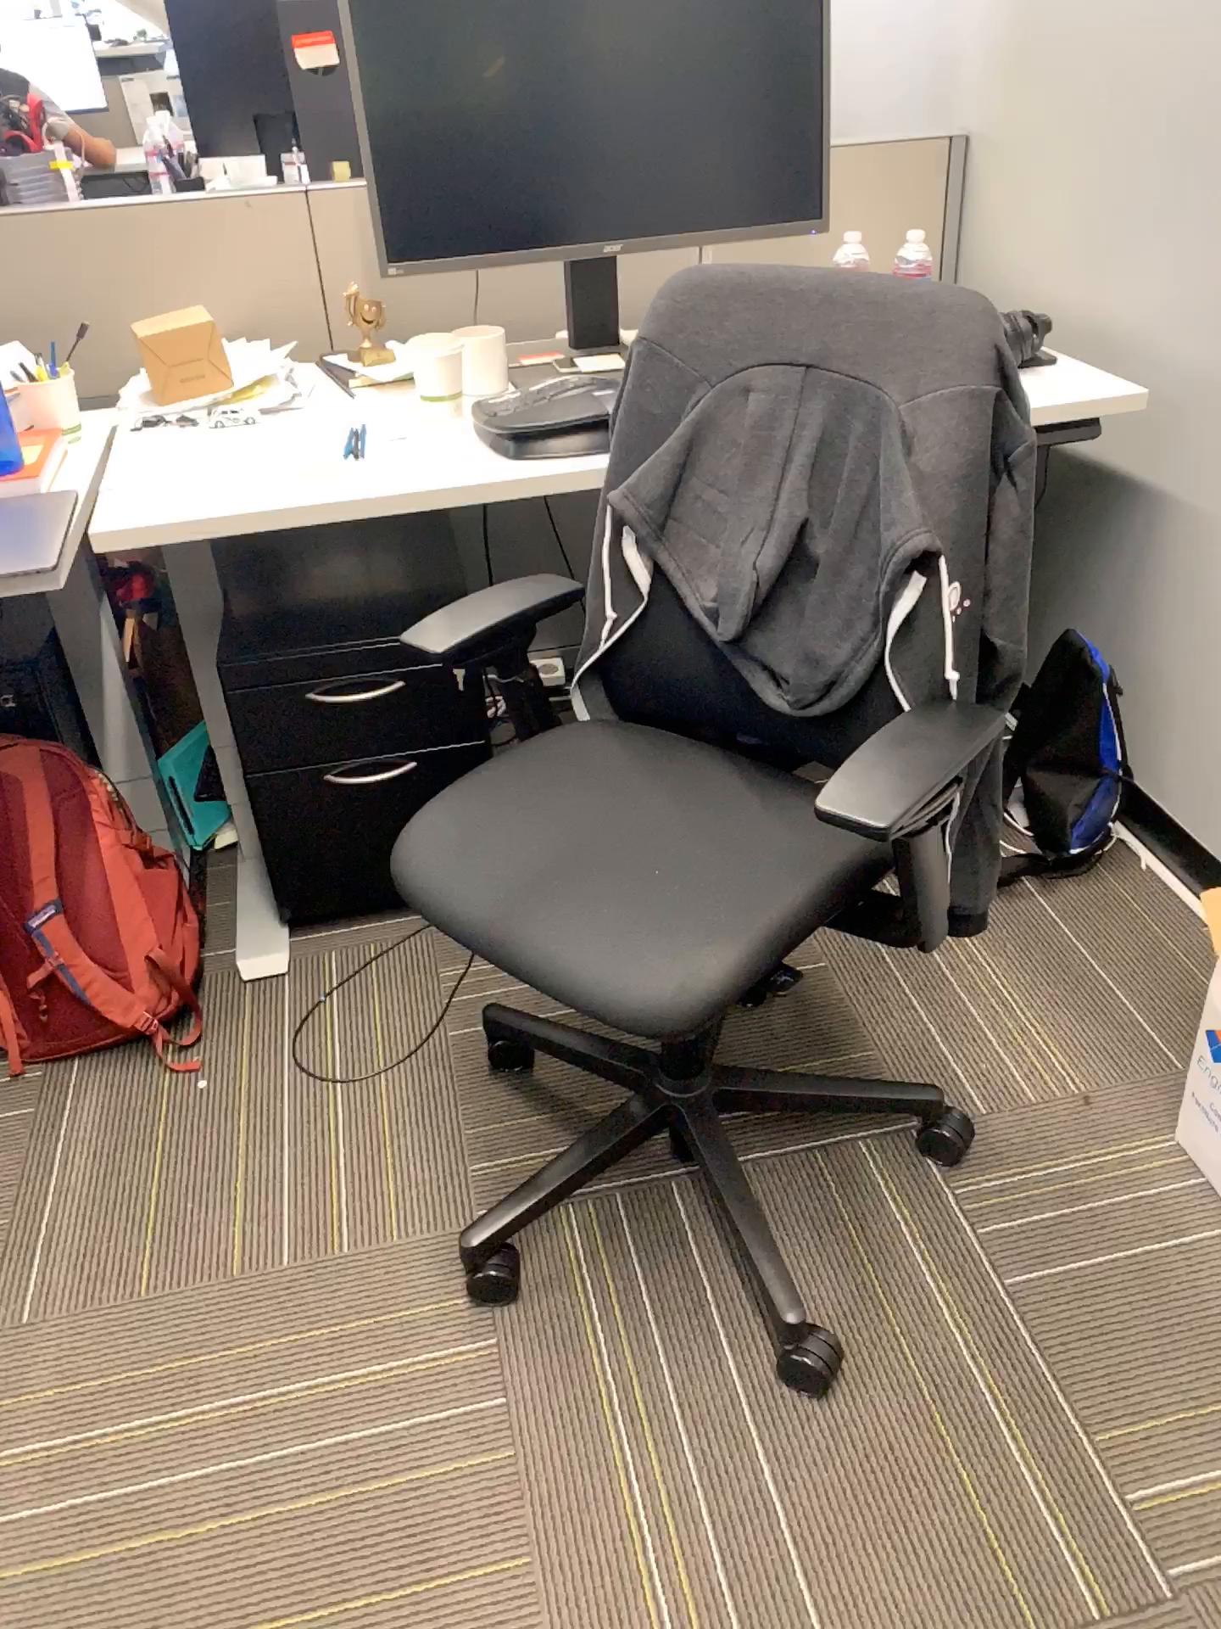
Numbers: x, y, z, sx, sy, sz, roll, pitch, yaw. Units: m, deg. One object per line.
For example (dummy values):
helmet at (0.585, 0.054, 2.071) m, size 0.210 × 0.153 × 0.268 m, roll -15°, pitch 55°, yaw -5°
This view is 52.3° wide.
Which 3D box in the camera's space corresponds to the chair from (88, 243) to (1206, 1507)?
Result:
chair at (0.096, -0.016, 1.404) m, size 0.683 × 0.994 × 0.802 m, roll 20°, pitch 40°, yaw 32°
